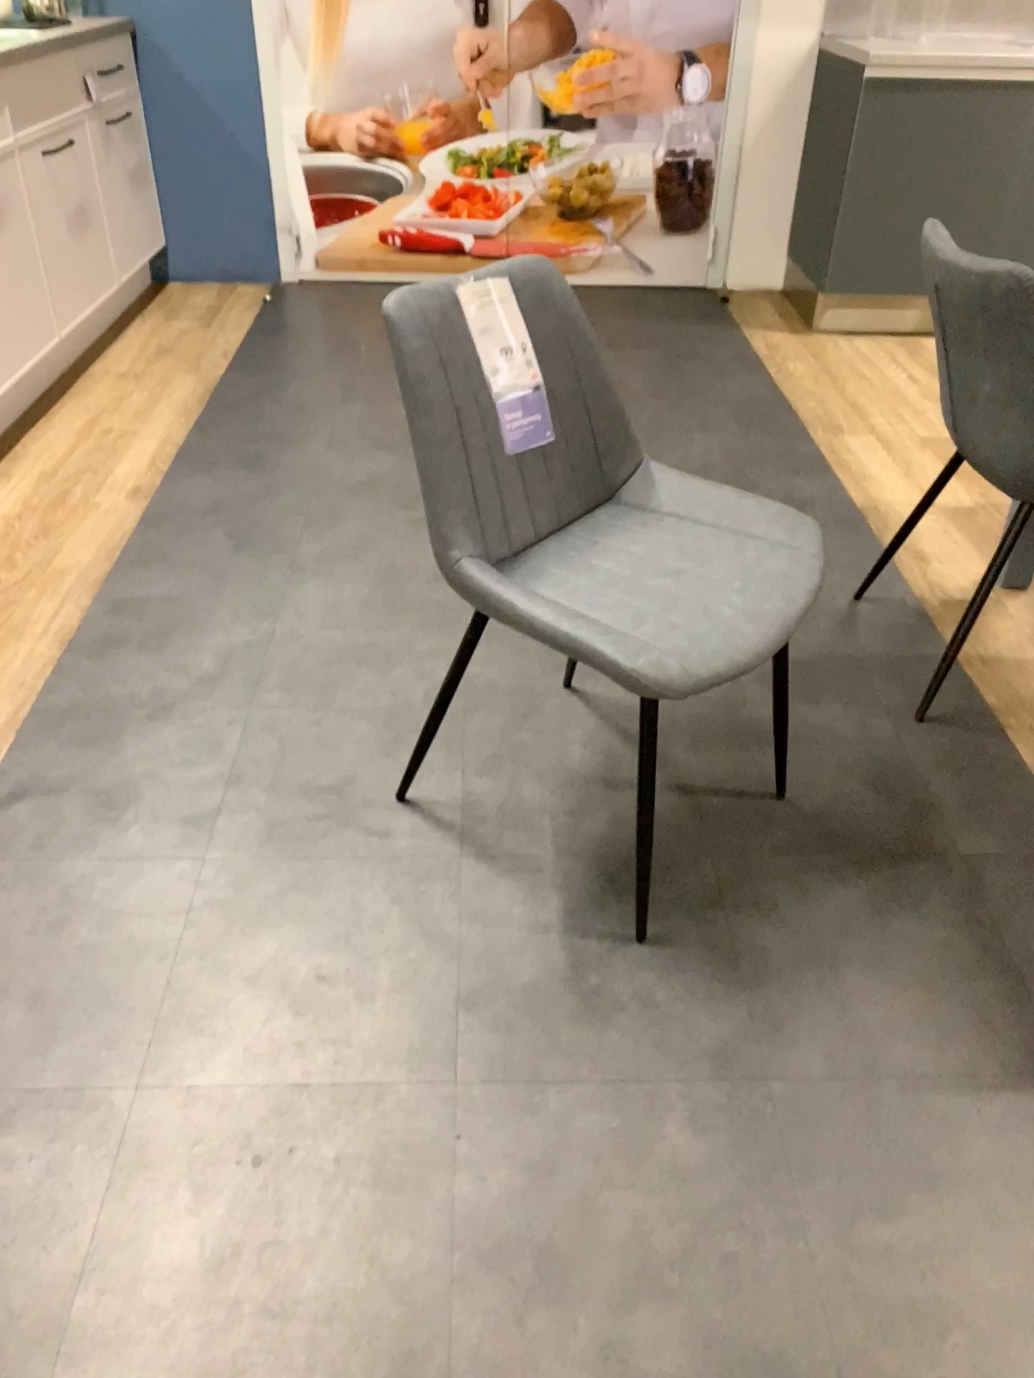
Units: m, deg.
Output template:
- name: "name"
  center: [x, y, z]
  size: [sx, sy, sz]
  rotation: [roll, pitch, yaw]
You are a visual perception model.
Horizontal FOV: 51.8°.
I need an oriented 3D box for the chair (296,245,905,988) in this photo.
- name: "chair"
  center: [0.103, -0.136, 1.611]
  size: [0.590, 0.833, 0.525]
  rotation: [27, 42, 31]
